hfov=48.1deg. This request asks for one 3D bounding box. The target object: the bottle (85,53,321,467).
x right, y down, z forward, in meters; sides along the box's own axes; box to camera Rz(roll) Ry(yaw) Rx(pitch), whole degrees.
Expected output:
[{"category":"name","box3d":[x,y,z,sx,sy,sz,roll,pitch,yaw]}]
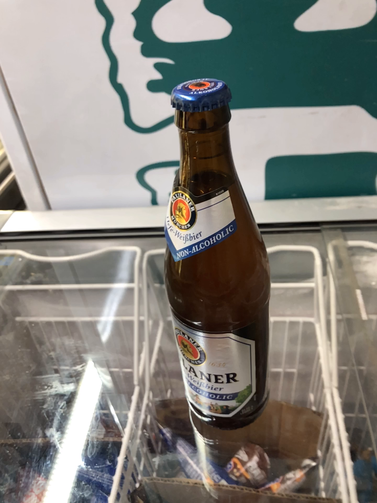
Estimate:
[{"category":"bottle","box3d":[0.017,0.022,0.264,0.070,0.248,0.080,-31,44,-27]}]
